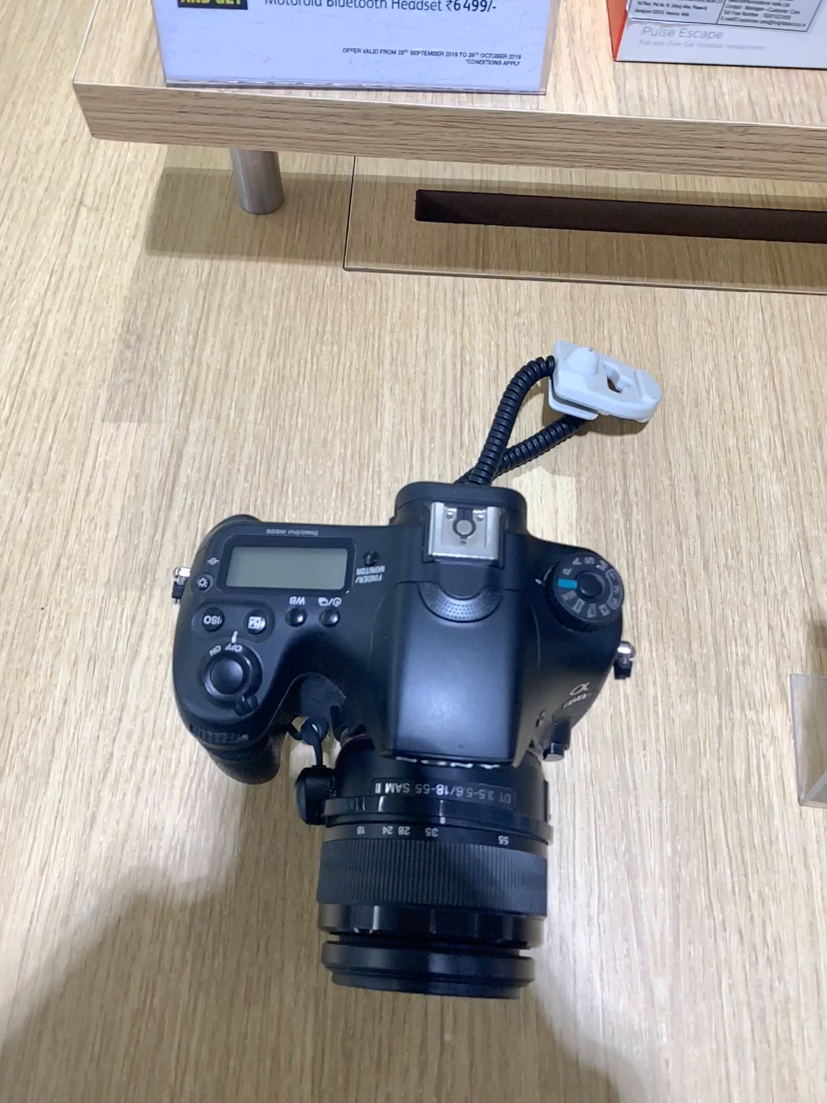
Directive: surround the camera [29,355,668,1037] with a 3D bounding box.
[{"bbox_3d":[-0.008,0.042,0.262,0.140,0.090,0.170,5,65,1],"label":"camera"}]
